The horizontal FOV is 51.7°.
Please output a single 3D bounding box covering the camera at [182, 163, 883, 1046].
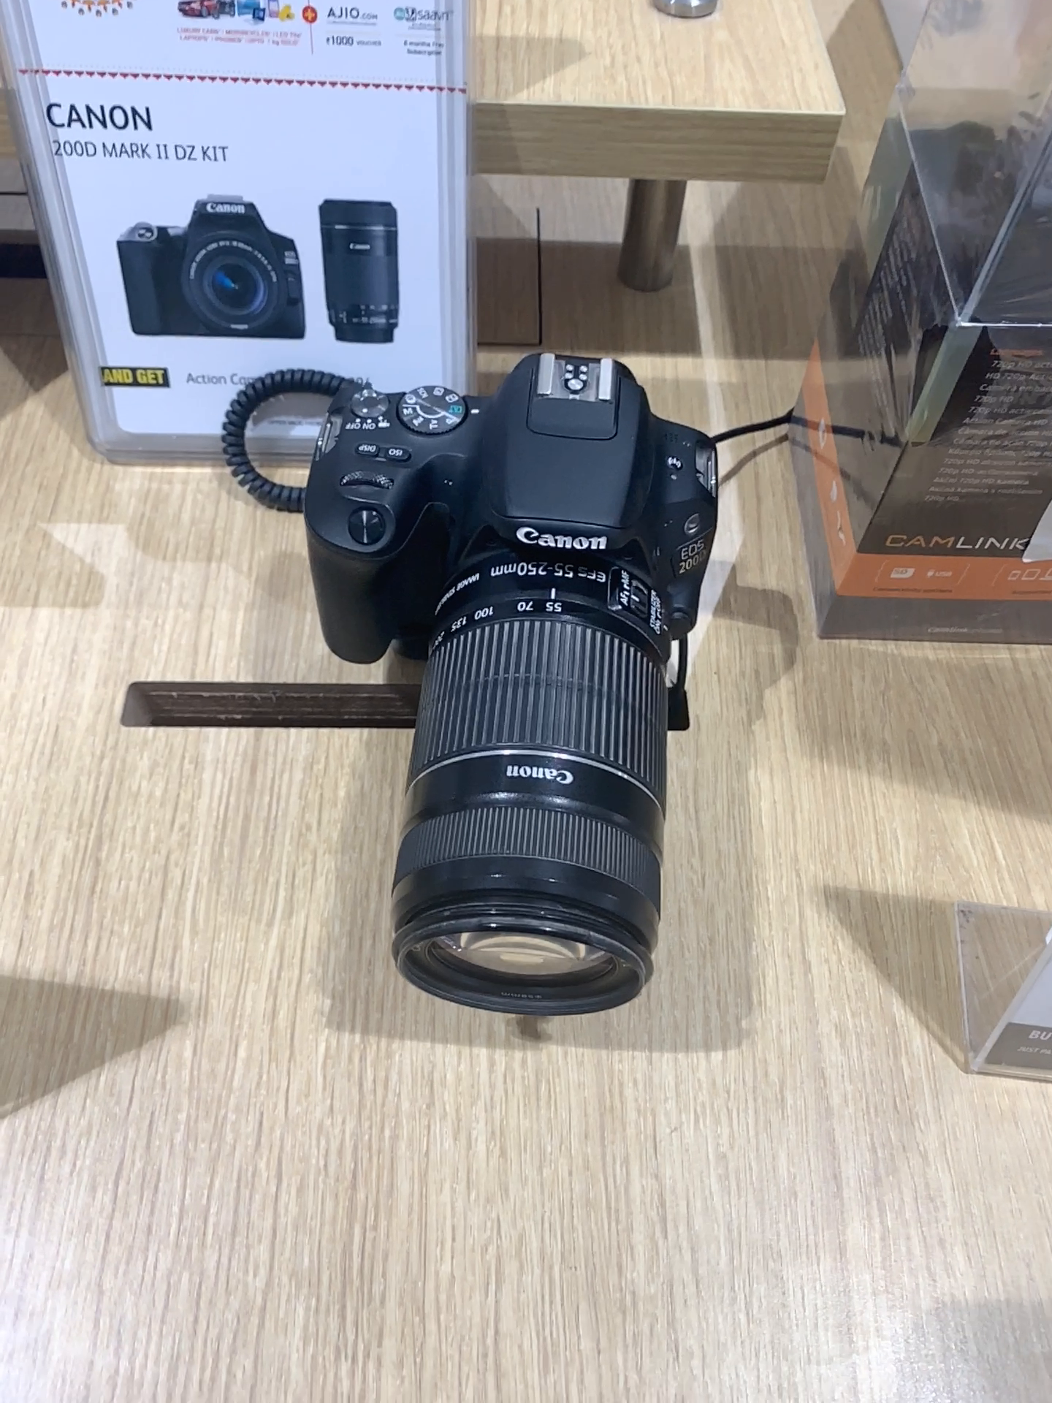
[{"bbox_3d":[0.005,-0.029,0.281,0.120,0.100,0.200,4,58,0],"label":"camera"}]
